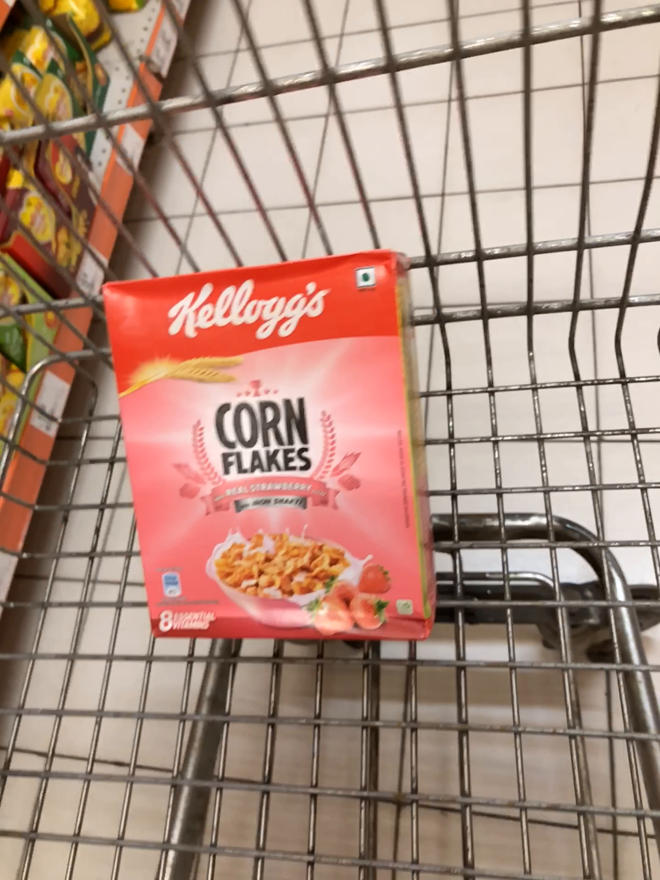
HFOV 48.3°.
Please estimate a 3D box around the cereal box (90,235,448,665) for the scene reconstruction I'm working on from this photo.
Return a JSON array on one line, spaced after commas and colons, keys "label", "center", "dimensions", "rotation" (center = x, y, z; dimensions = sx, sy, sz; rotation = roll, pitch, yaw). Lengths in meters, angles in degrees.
[{"label": "cereal box", "center": [-0.024, 0.008, 0.344], "dimensions": [0.140, 0.050, 0.180], "rotation": [-3, 98, 14]}]
